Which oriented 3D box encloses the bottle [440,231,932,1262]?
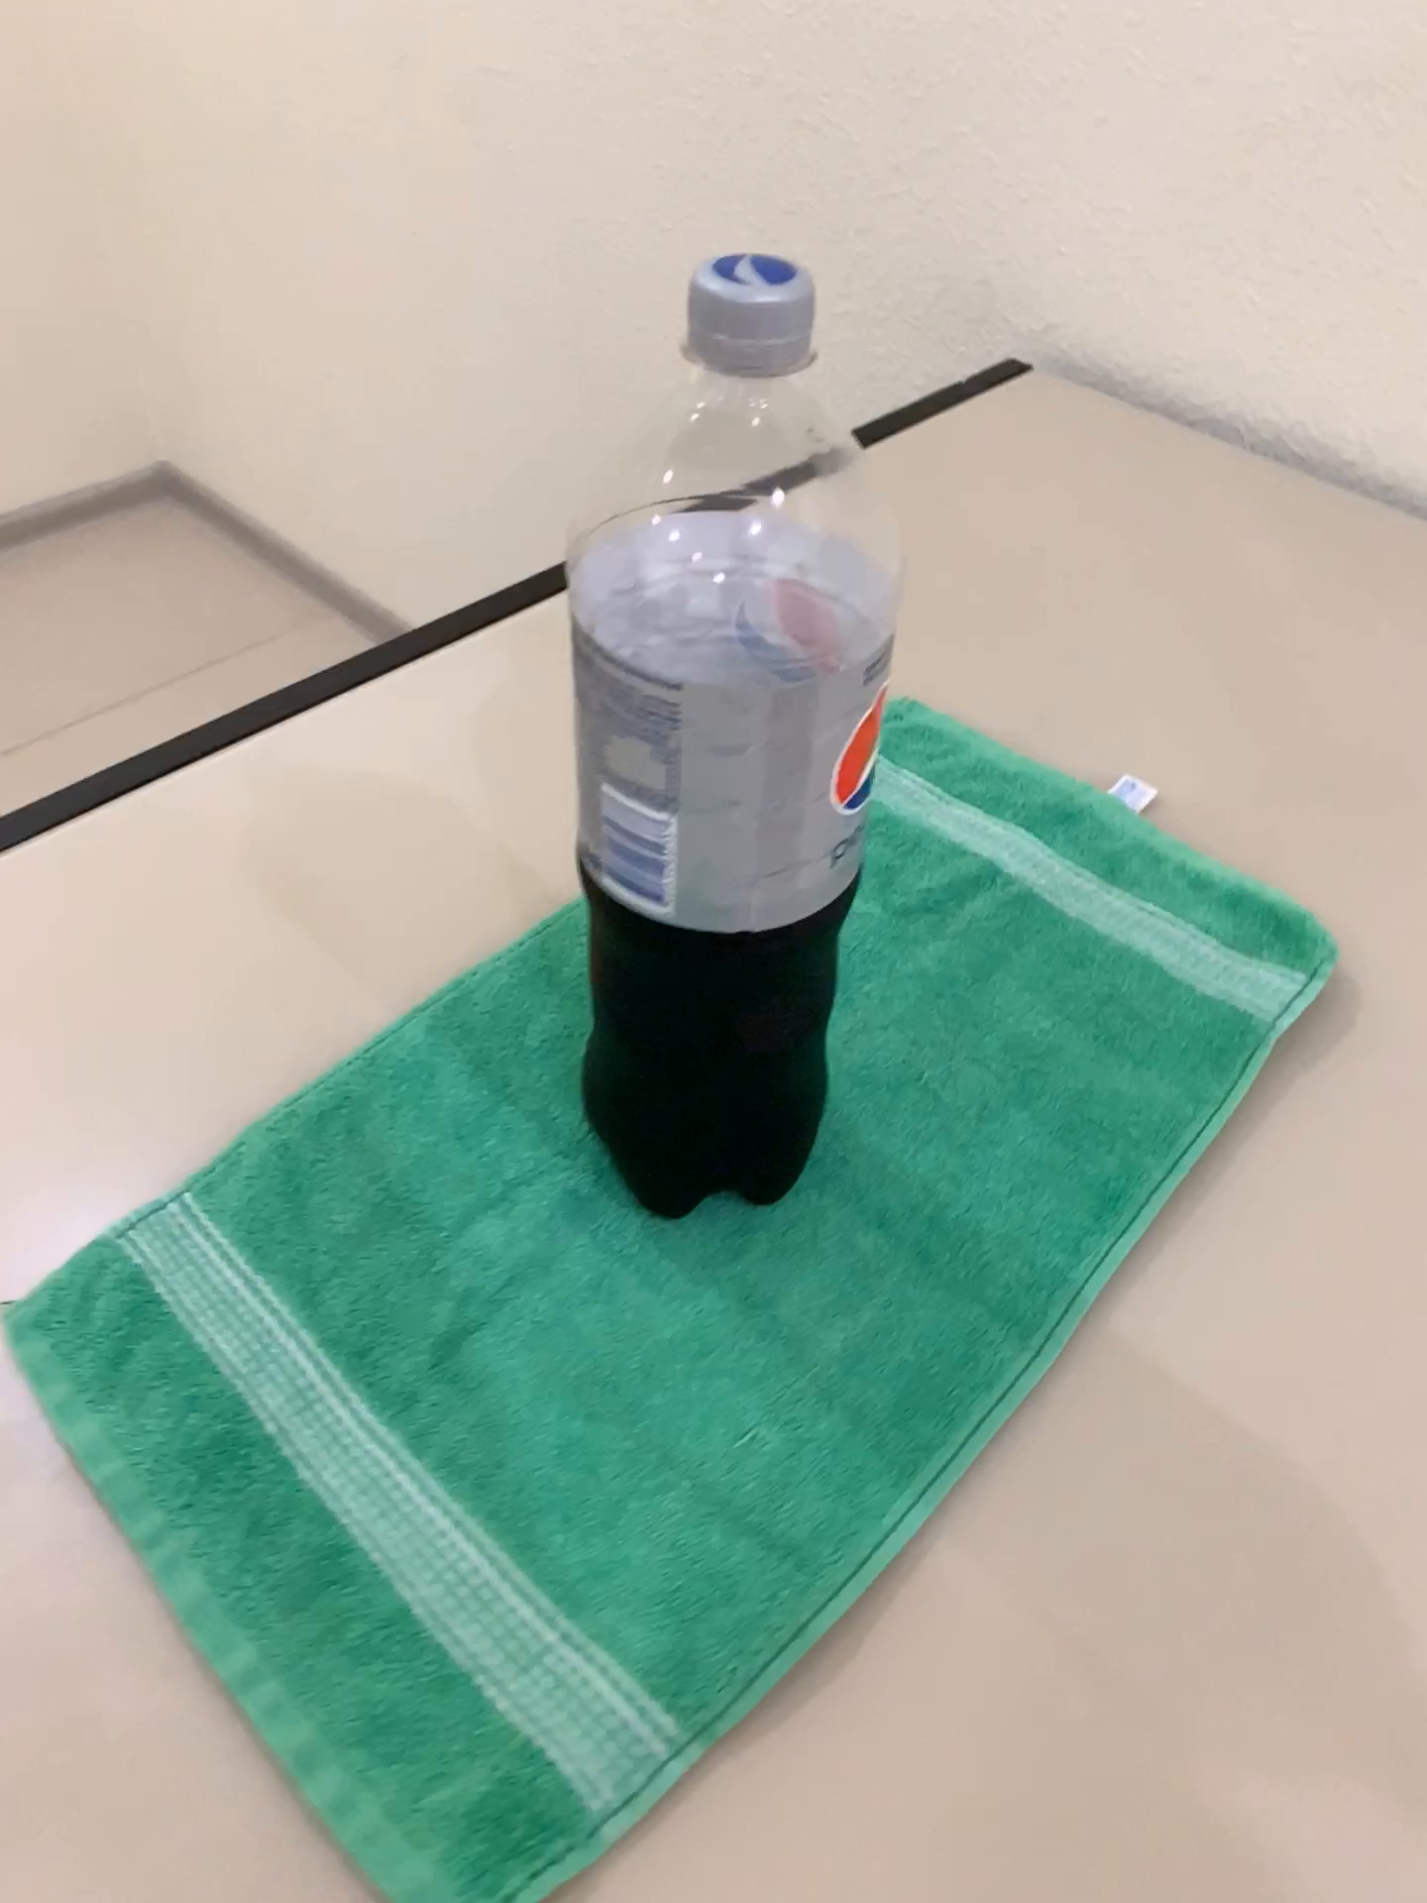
[{"bbox_3d":[-0.005,-0.039,0.443,0.100,0.298,0.101,1,44,-1],"label":"bottle"}]
